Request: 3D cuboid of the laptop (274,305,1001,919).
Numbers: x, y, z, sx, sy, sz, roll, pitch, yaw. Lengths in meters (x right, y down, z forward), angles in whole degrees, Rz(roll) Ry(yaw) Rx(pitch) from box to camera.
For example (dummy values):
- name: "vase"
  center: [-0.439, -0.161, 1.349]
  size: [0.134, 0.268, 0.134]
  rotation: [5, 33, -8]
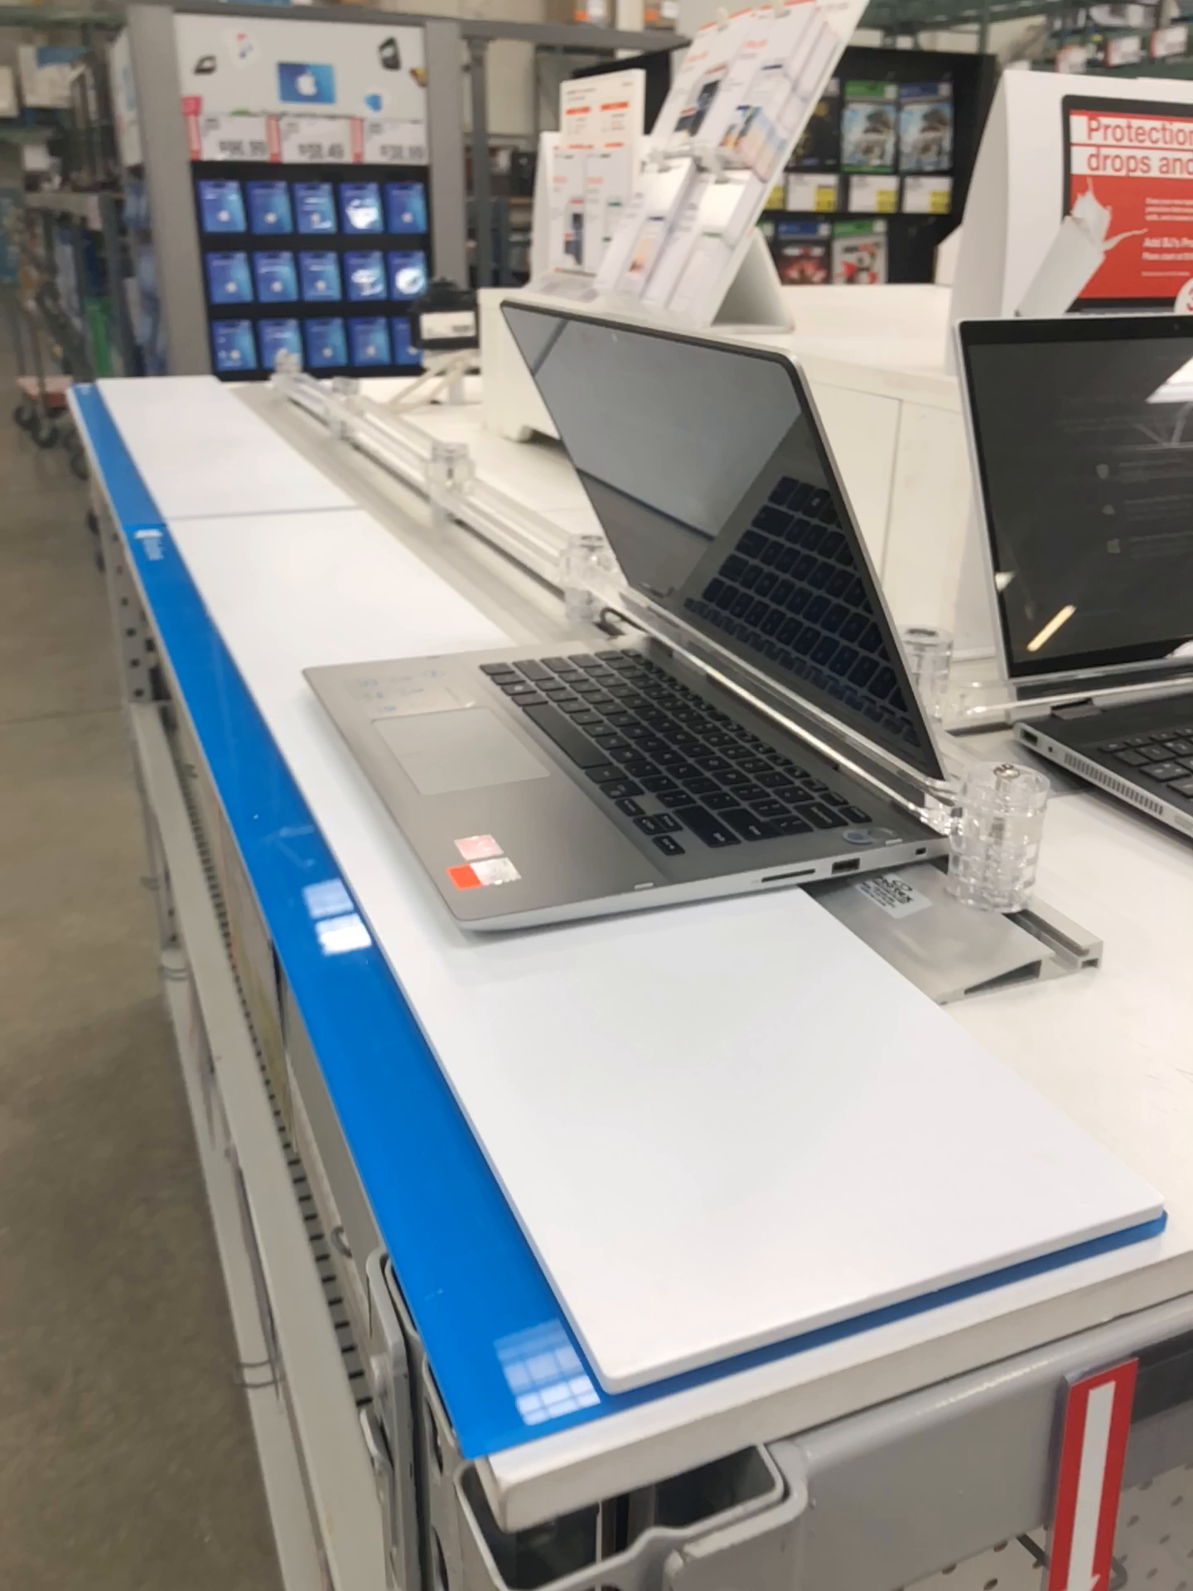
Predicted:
- name: "laptop"
  center: [-0.009, -0.121, 0.634]
  size: [0.222, 0.199, 0.320]
  rotation: [-9, 25, -20]
